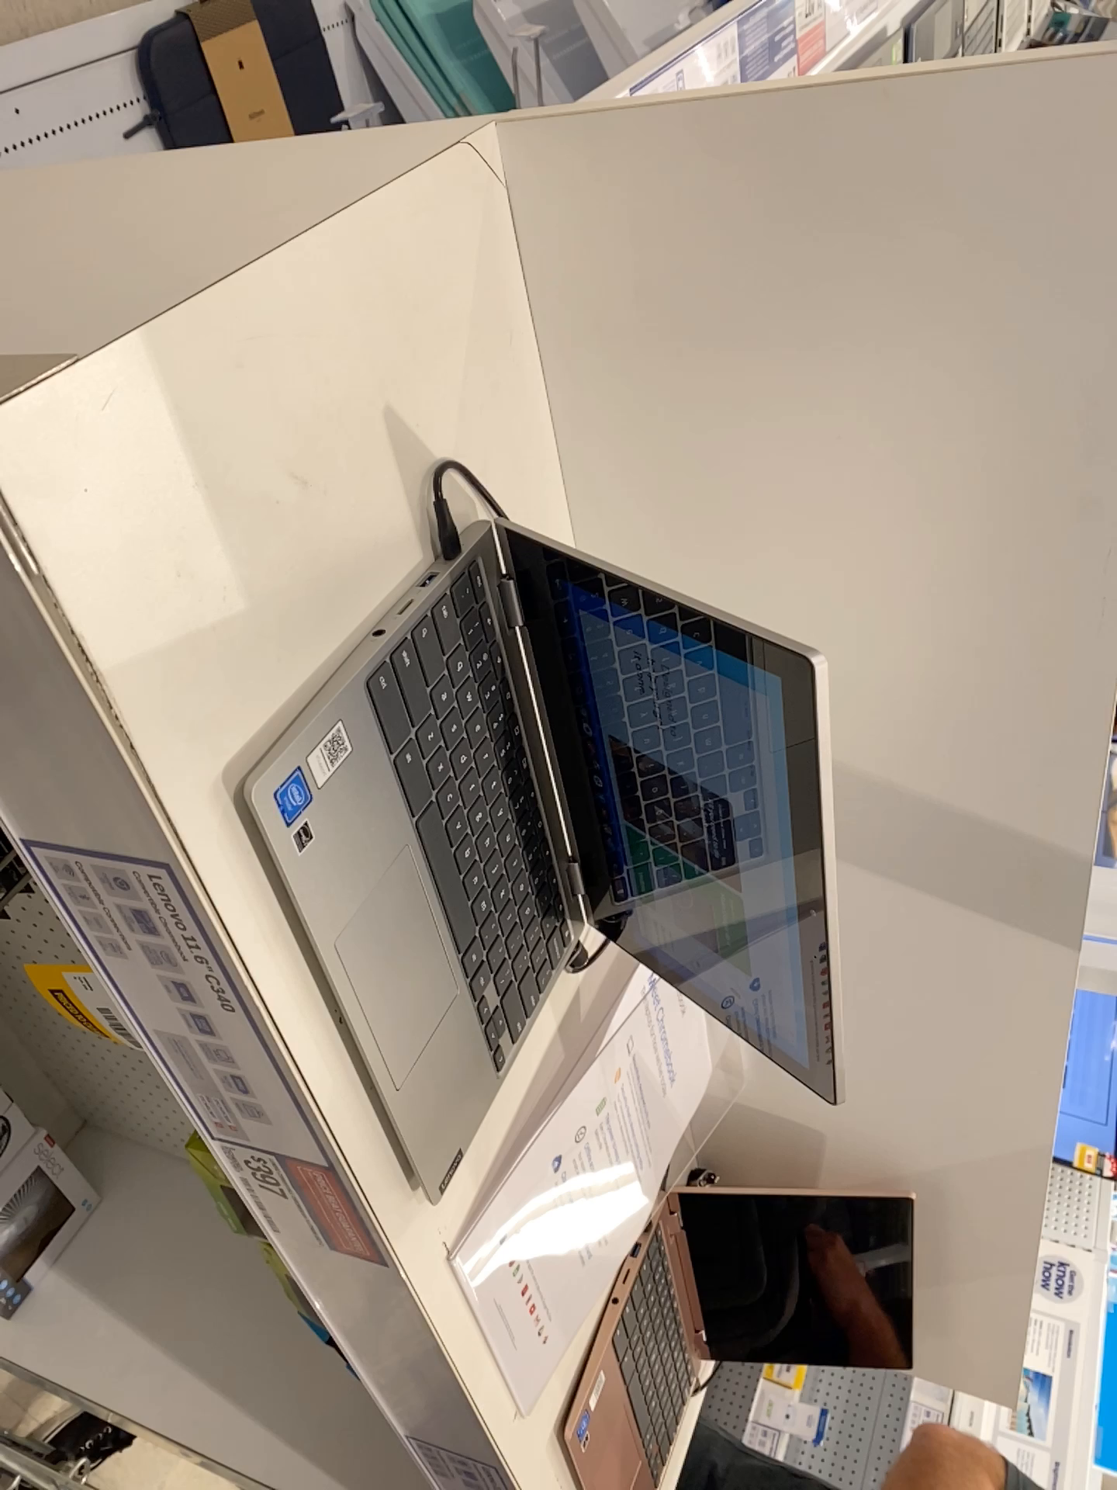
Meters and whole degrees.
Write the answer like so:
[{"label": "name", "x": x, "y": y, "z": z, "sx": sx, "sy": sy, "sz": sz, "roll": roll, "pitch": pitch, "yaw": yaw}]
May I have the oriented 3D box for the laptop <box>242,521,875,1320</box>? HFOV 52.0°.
[{"label": "laptop", "x": 0.032, "y": 0.075, "z": 0.535, "sx": 0.201, "sy": 0.180, "sz": 0.284, "roll": -56, "pitch": 144, "yaw": -42}]
